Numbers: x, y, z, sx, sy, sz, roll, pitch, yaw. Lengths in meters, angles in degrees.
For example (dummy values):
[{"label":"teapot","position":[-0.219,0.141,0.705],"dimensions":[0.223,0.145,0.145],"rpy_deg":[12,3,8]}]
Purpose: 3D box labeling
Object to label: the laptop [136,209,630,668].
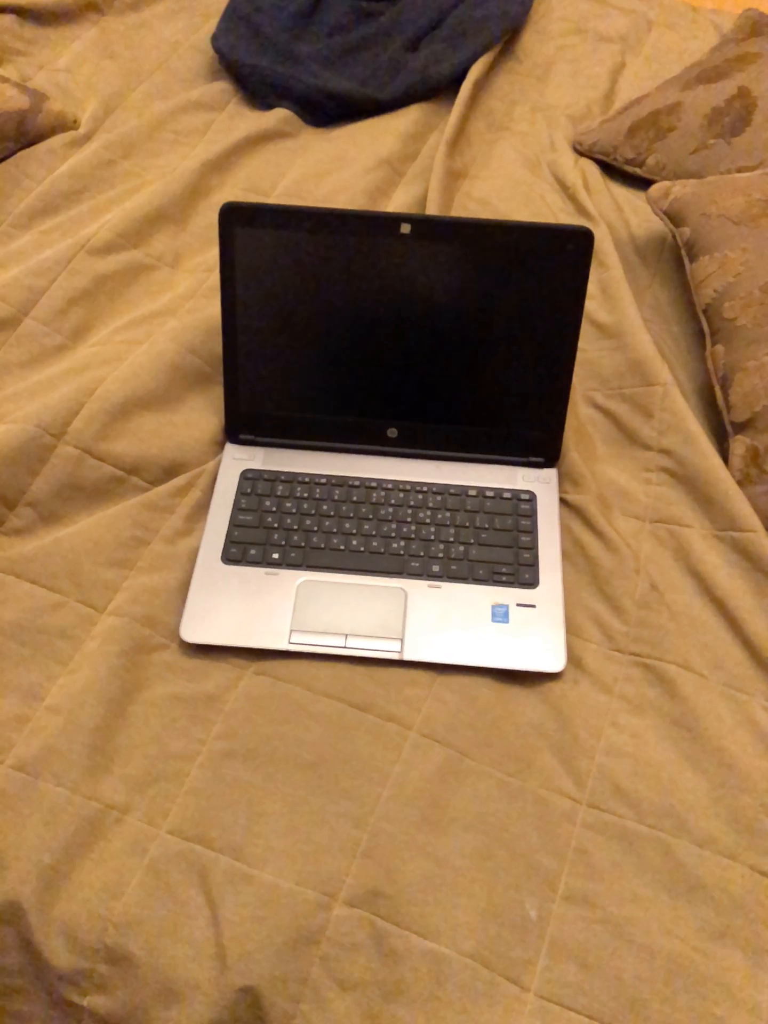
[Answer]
[{"label":"laptop","position":[0.009,-0.070,0.739],"dimensions":[0.332,0.189,0.340],"rpy_deg":[4,56,2]}]
